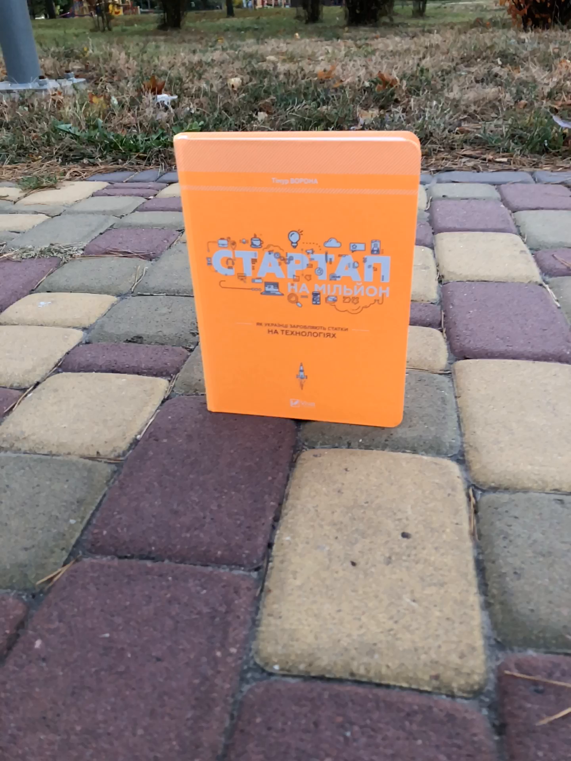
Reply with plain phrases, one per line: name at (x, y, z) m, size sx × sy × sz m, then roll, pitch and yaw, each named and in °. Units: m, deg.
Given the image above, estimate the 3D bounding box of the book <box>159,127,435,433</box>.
book at (0.011, -0.064, 0.432) m, size 0.164 × 0.200 × 0.040 m, roll 4°, pitch 32°, yaw 12°
